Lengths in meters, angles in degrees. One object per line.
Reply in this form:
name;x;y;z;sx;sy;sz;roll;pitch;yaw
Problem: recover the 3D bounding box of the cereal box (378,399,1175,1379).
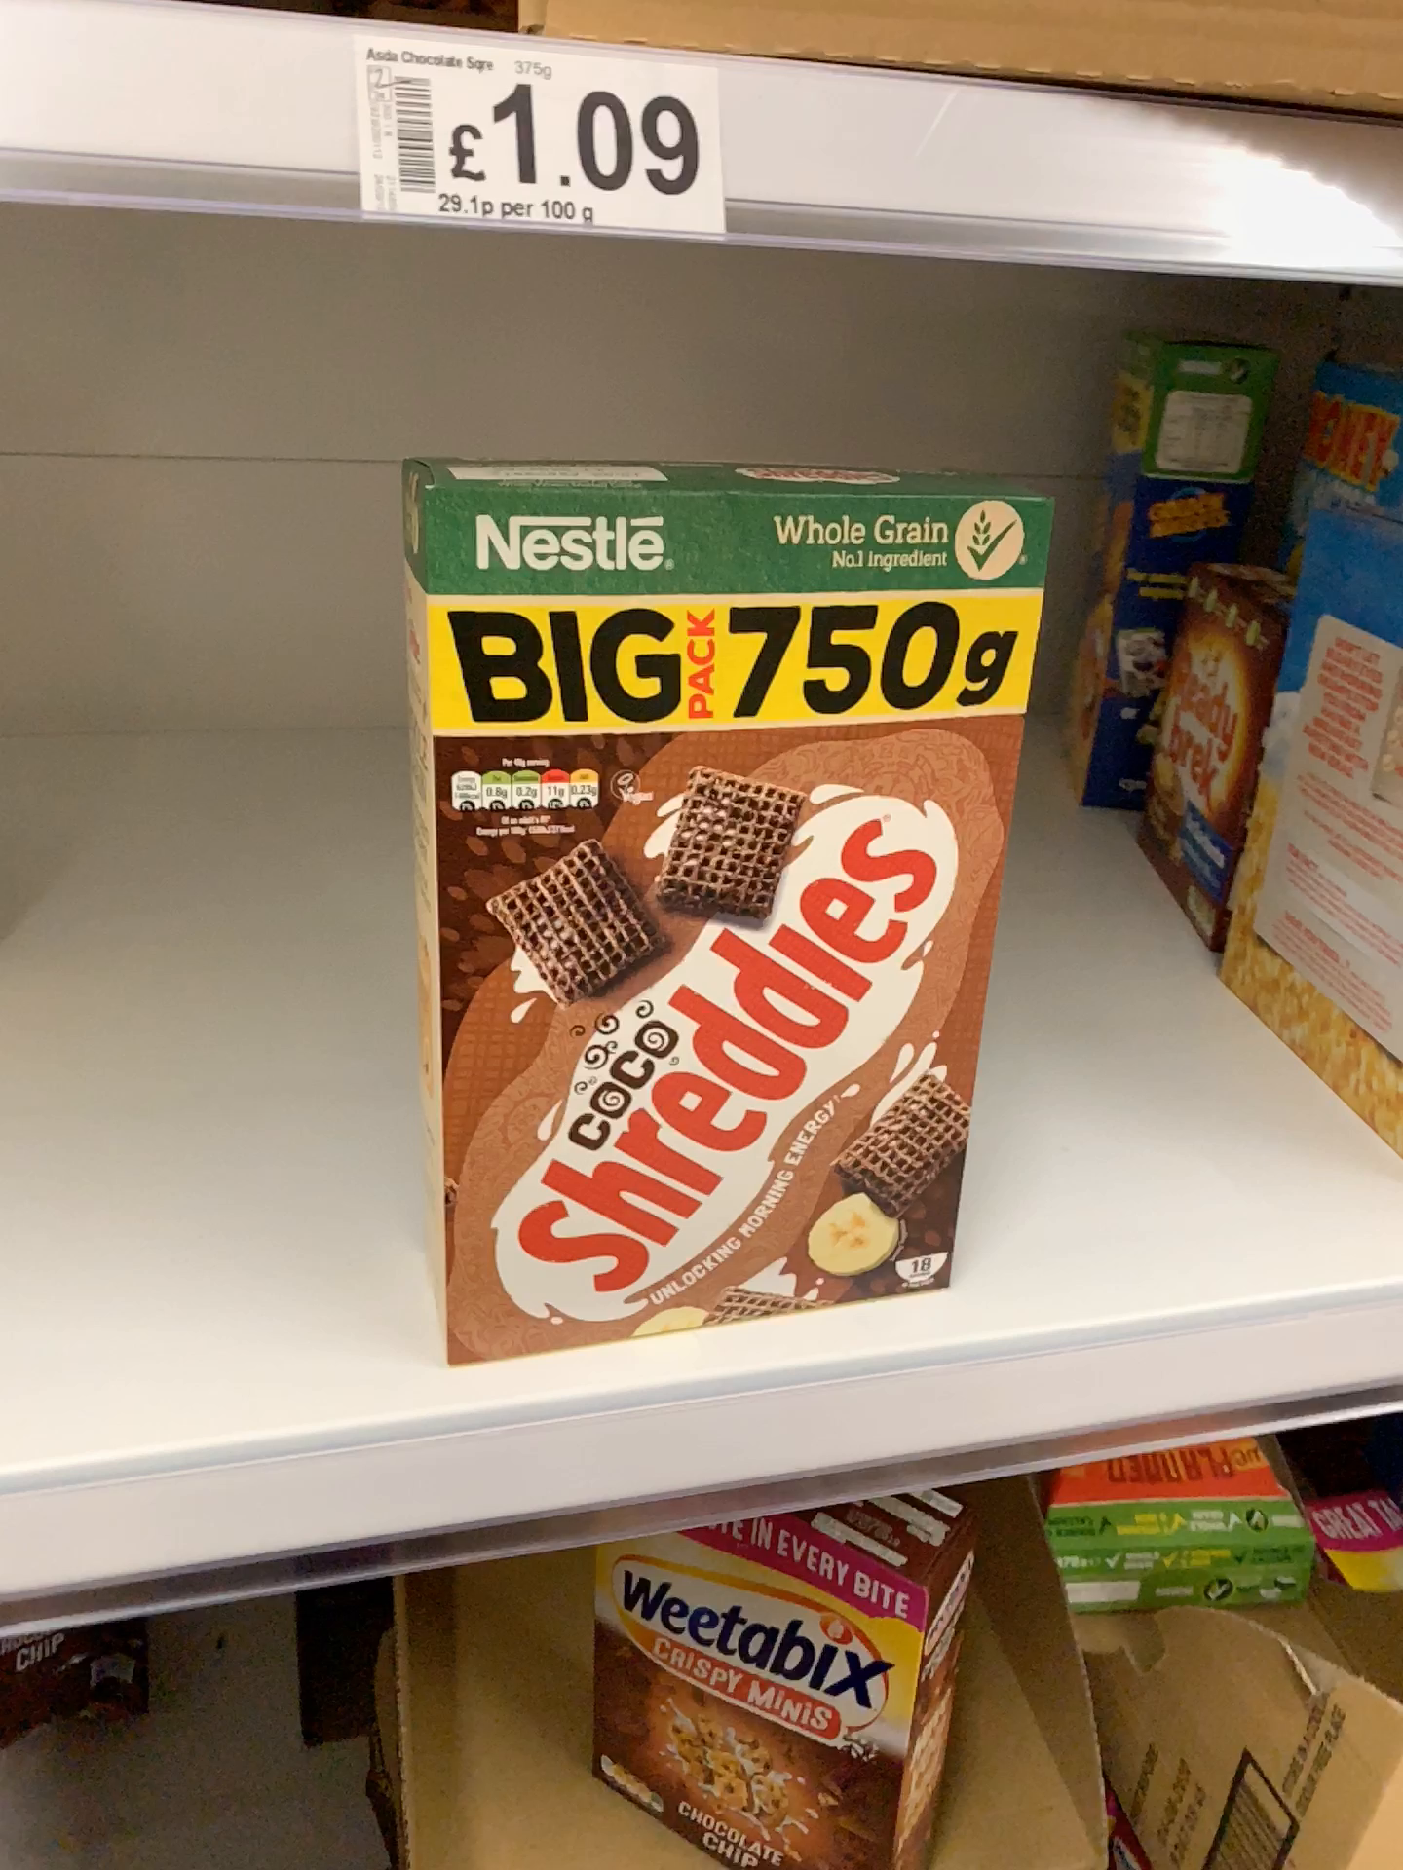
cereal box;0.011;-0.012;0.466;0.210;0.288;0.081;-4;26;-16
